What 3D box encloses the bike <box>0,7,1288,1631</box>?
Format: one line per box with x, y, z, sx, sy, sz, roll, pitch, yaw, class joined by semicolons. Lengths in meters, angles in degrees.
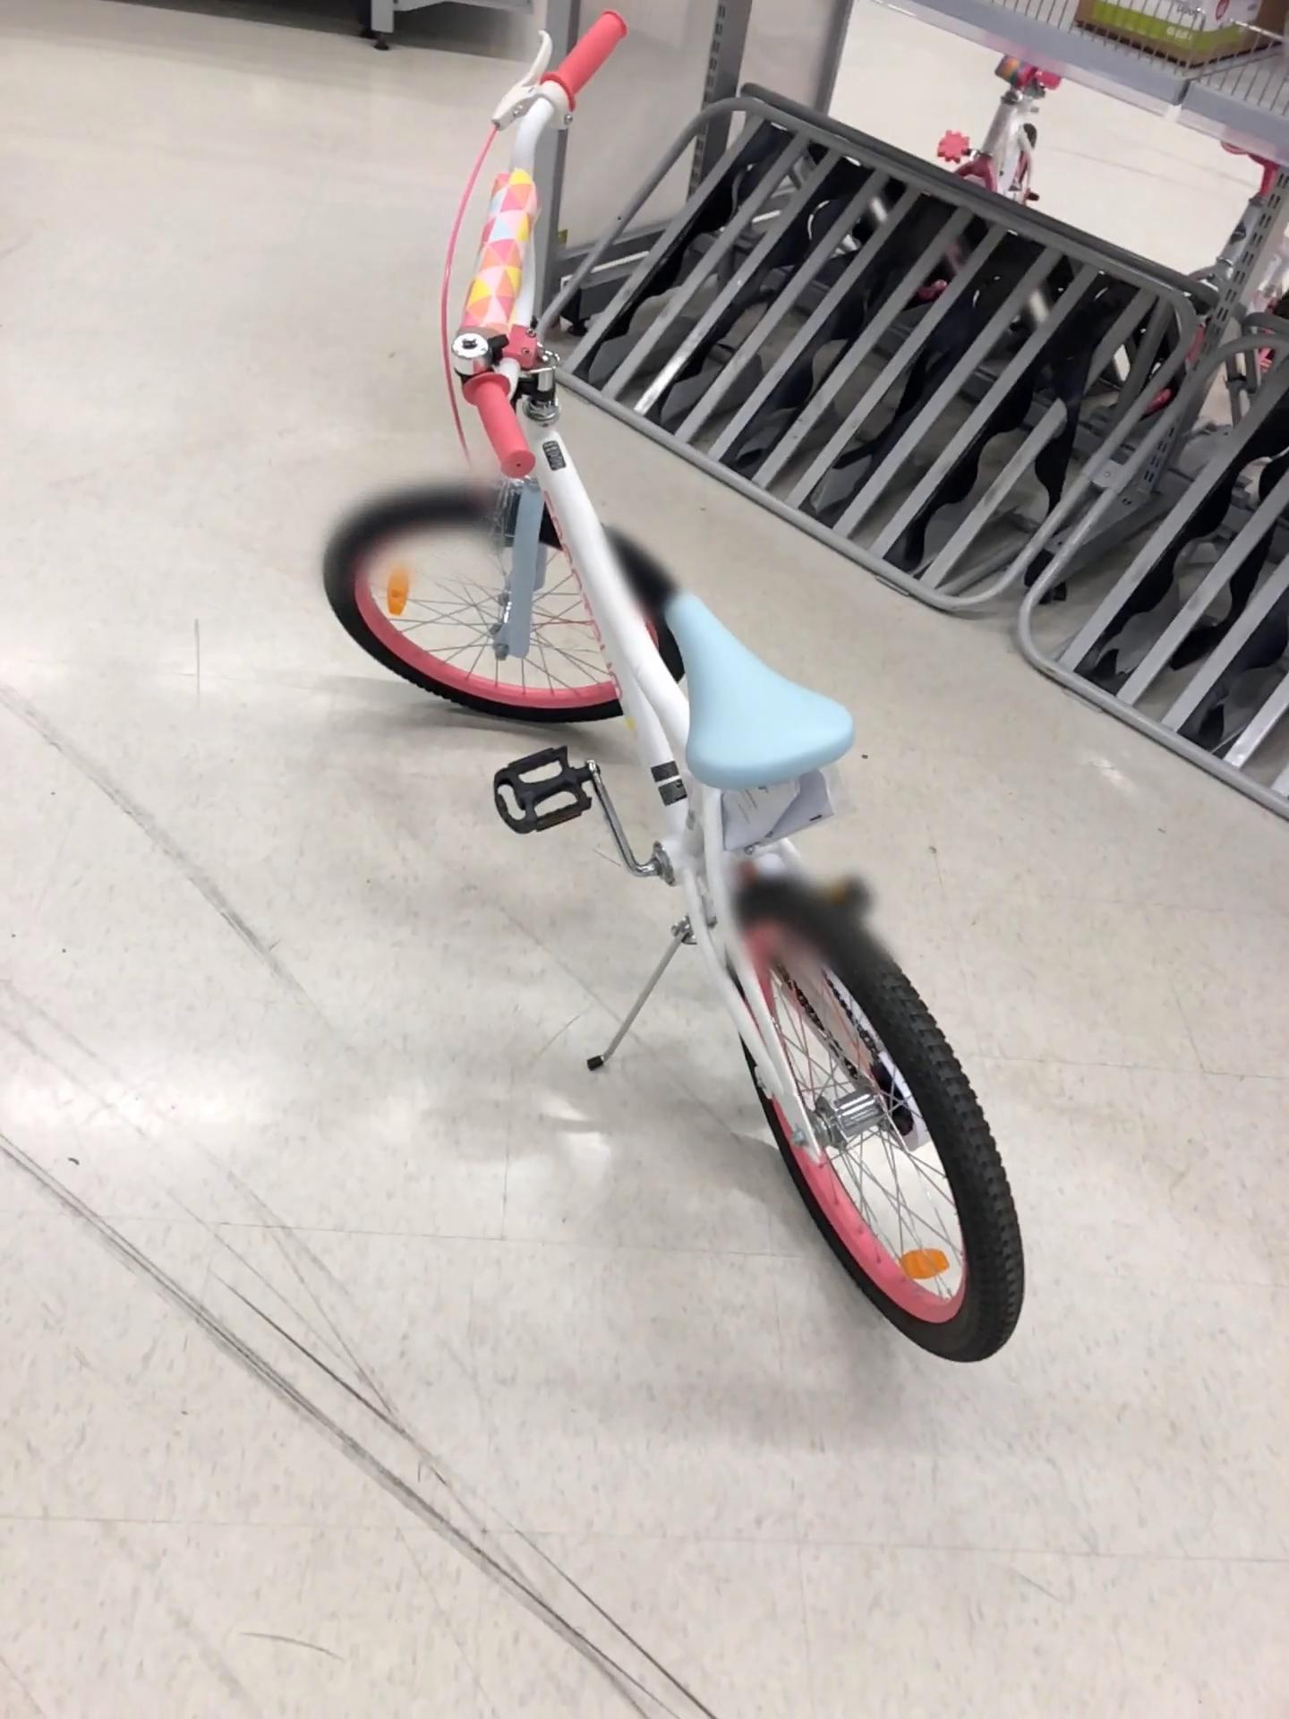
-0.044;-0.123;1.398;0.633;0.961;1.255;-21;52;-29;bike
